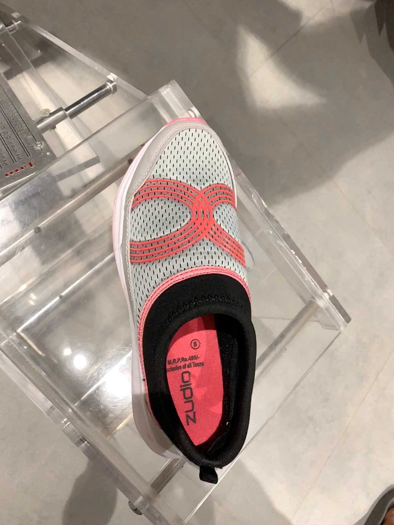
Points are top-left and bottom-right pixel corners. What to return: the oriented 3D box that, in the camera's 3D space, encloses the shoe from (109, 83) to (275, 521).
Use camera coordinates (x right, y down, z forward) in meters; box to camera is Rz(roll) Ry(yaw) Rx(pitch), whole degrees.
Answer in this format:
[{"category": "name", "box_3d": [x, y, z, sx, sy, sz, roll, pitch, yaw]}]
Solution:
[{"category": "shoe", "box_3d": [-0.010, 0.024, 0.335, 0.100, 0.080, 0.300, -1, 85, -23]}]
